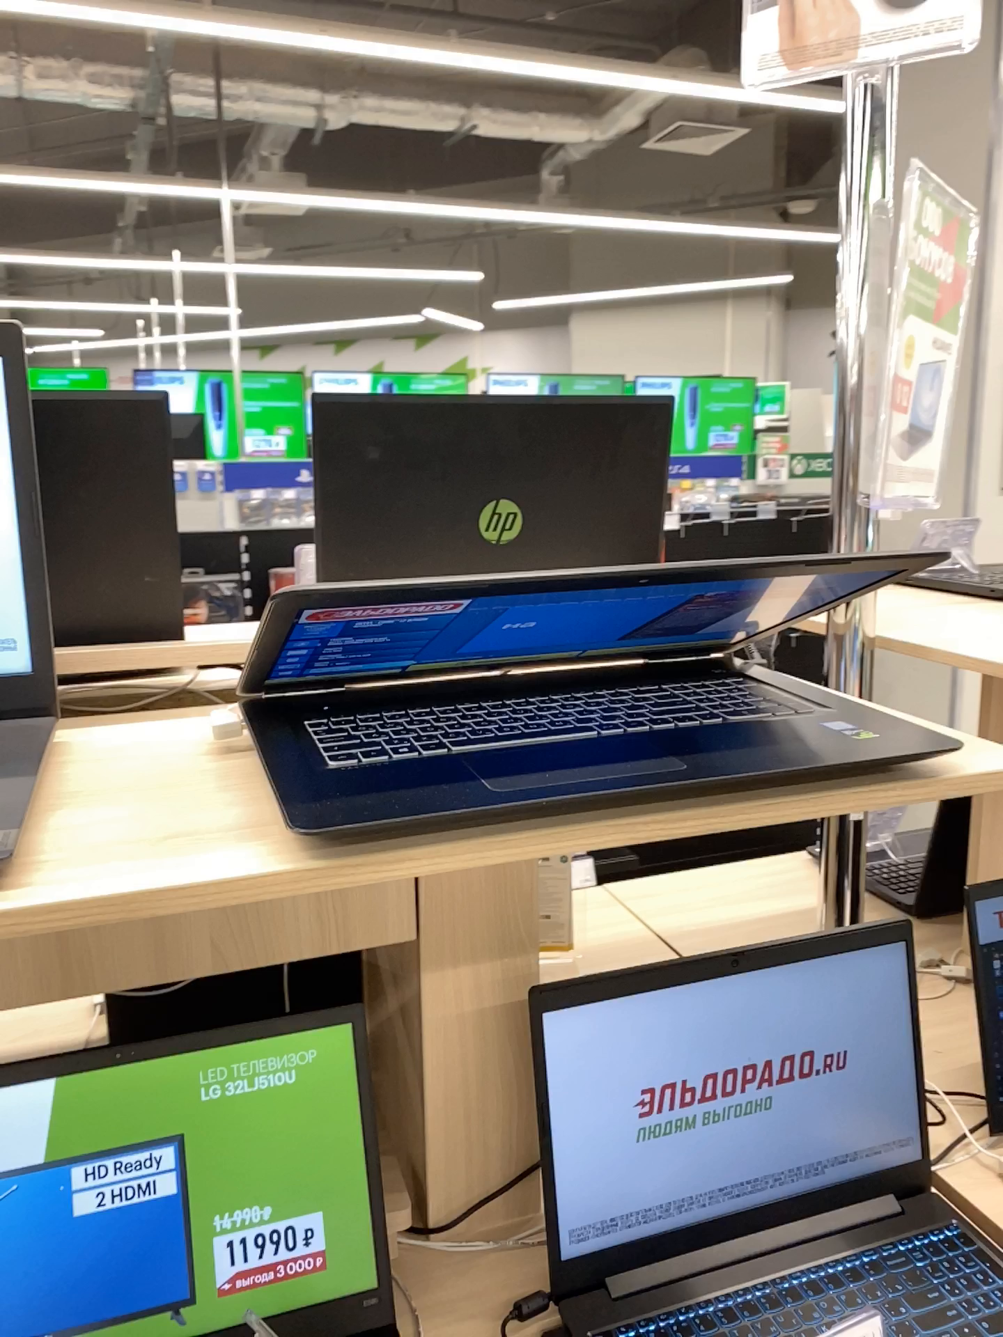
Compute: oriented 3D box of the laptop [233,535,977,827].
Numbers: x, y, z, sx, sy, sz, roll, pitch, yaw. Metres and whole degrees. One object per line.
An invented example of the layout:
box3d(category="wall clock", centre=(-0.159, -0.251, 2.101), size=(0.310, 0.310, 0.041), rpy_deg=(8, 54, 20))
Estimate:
box3d(category="laptop", centre=(0.045, -0.017, 0.667), size=(0.396, 0.103, 0.264), rpy_deg=(-4, 13, -18))
